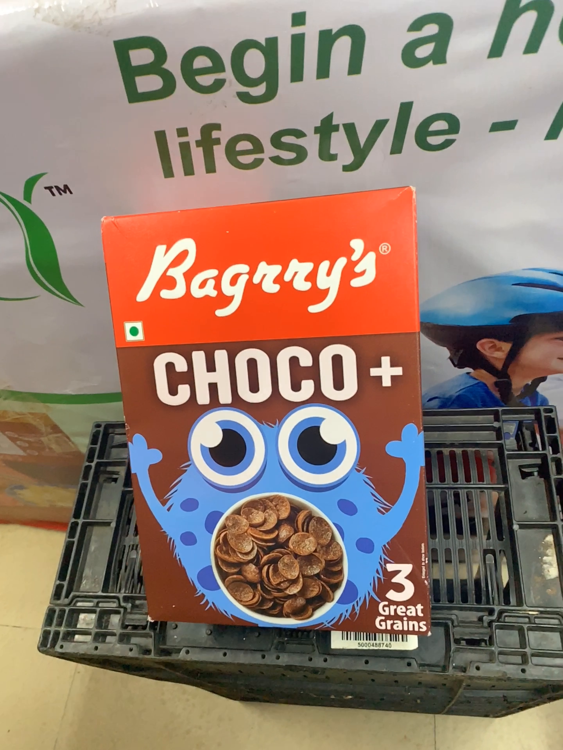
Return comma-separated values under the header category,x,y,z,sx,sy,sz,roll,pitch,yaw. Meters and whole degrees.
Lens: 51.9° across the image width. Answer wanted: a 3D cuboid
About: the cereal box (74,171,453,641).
category,x,y,z,sx,sy,sz,roll,pitch,yaw
cereal box,-0.002,0.019,0.347,0.190,0.080,0.240,-2,99,12
